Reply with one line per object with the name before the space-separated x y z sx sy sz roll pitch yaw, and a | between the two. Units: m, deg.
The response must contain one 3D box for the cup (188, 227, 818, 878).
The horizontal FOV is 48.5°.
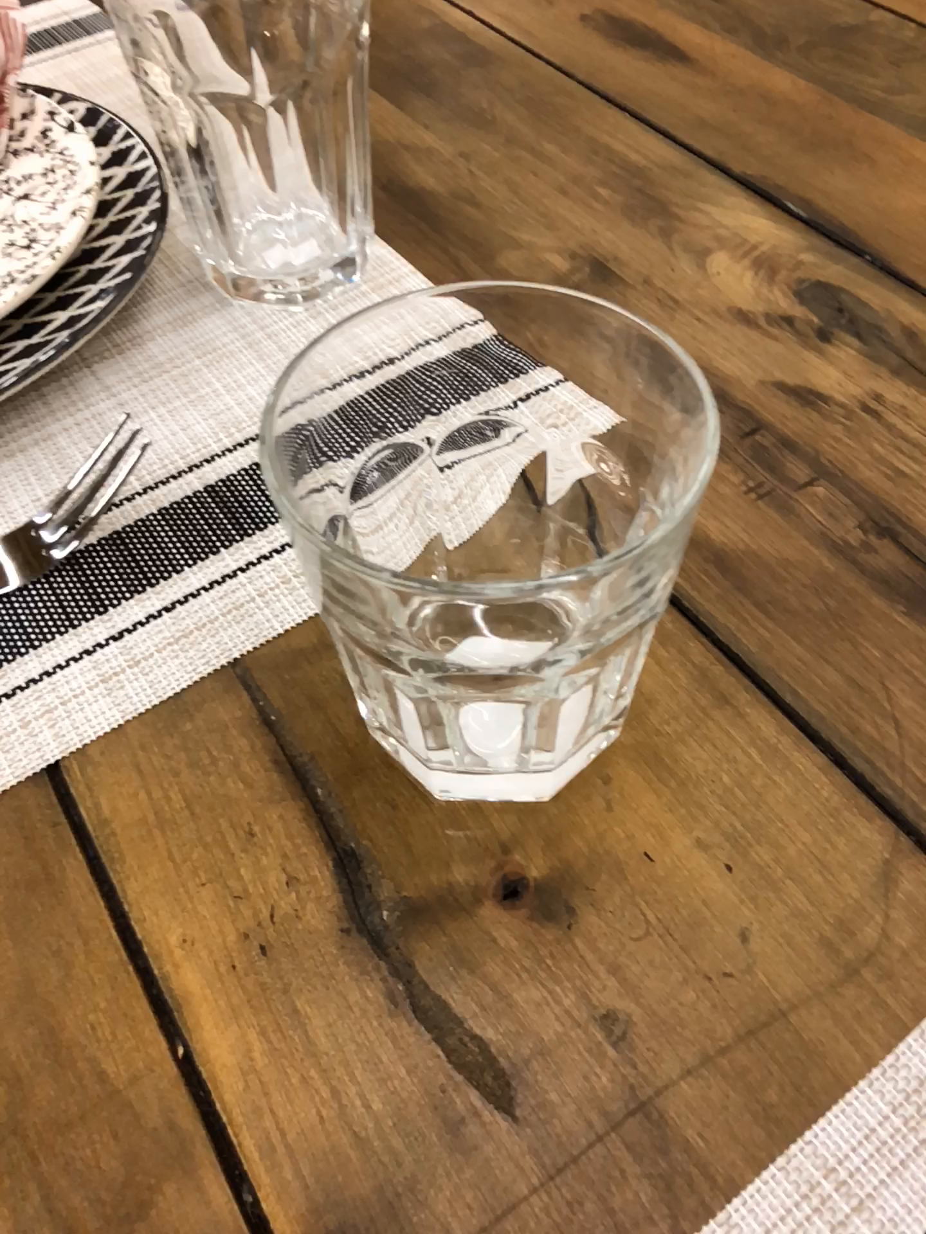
cup | 0.004 -0.015 0.221 0.090 0.081 0.087 -2 51 2
